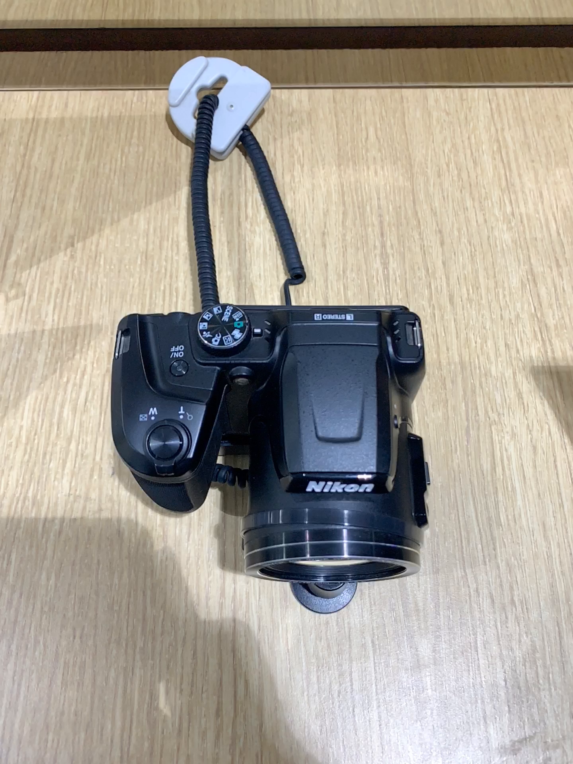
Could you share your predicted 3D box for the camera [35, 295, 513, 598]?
[{"bbox_3d":[-0.004,0.025,0.197,0.120,0.070,0.080,-1,66,-1],"label":"camera"}]
